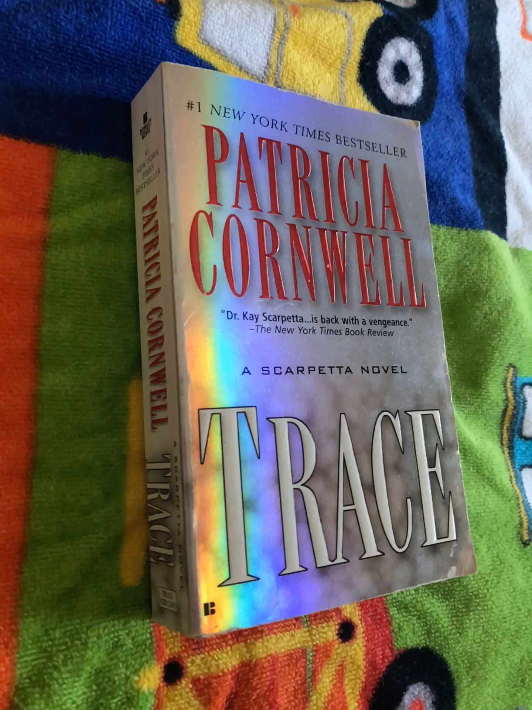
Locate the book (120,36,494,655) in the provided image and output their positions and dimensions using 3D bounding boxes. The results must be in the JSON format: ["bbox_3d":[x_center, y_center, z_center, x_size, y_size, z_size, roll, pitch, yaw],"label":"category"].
[{"bbox_3d":[0.015,-0.006,0.218,0.120,0.040,0.180,1,79,-32],"label":"book"}]
